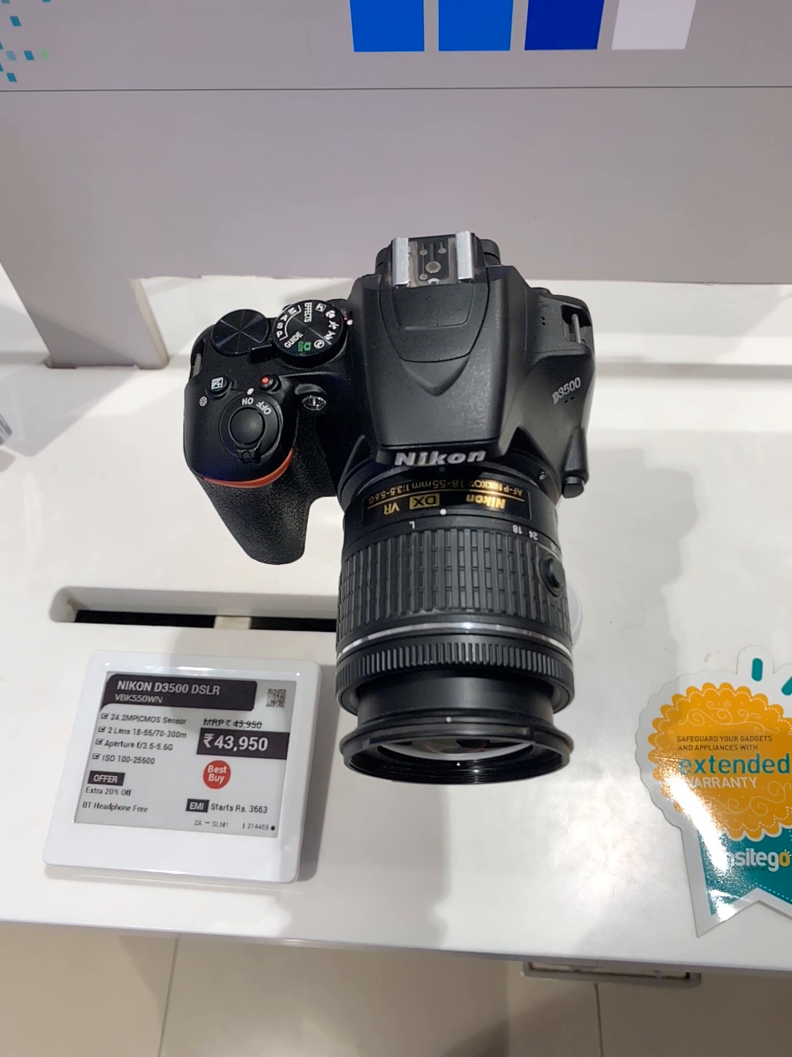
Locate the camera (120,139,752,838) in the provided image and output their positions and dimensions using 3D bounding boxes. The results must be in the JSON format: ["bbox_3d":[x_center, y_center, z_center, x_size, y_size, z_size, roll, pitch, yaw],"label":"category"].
[{"bbox_3d":[0.007,-0.015,0.240,0.120,0.090,0.180,-3,59,2],"label":"camera"}]
